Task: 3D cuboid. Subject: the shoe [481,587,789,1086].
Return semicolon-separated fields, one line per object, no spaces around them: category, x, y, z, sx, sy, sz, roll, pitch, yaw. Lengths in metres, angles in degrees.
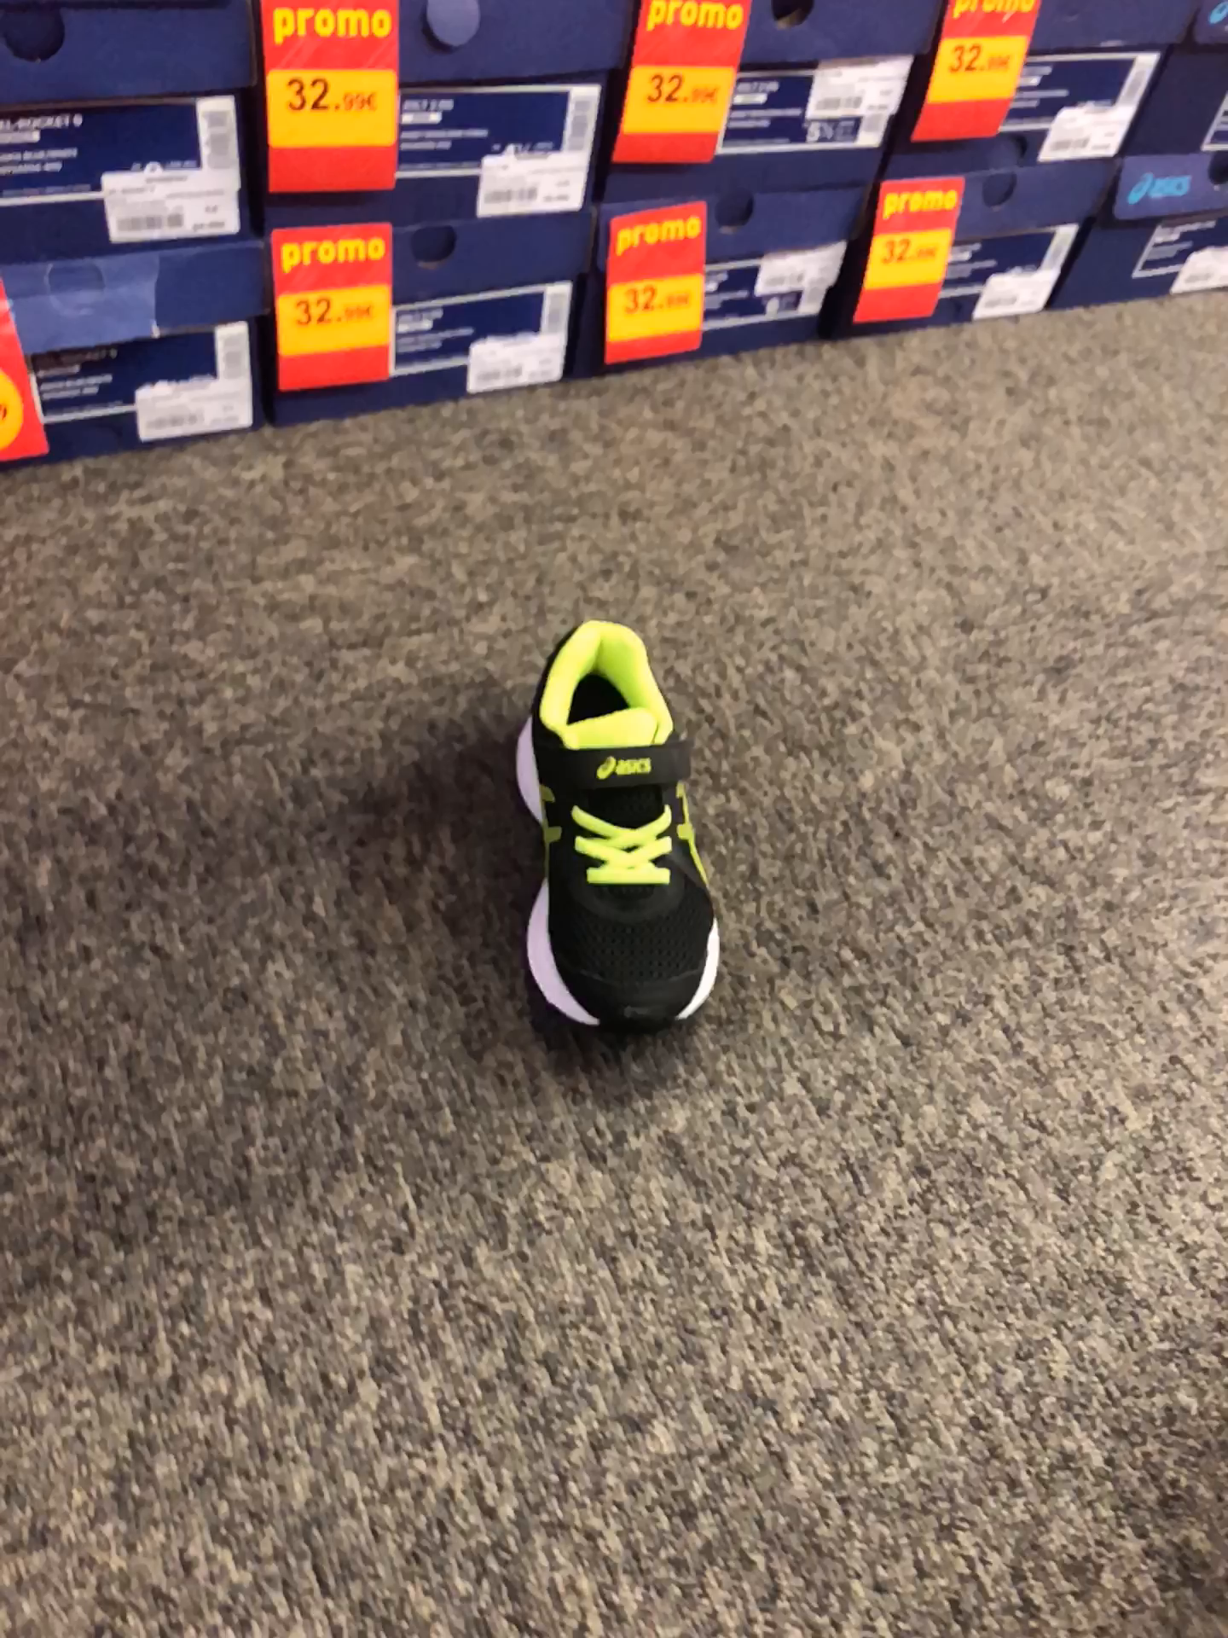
shoe;0.000;0.001;0.575;0.090;0.080;0.201;-1;52;-12
